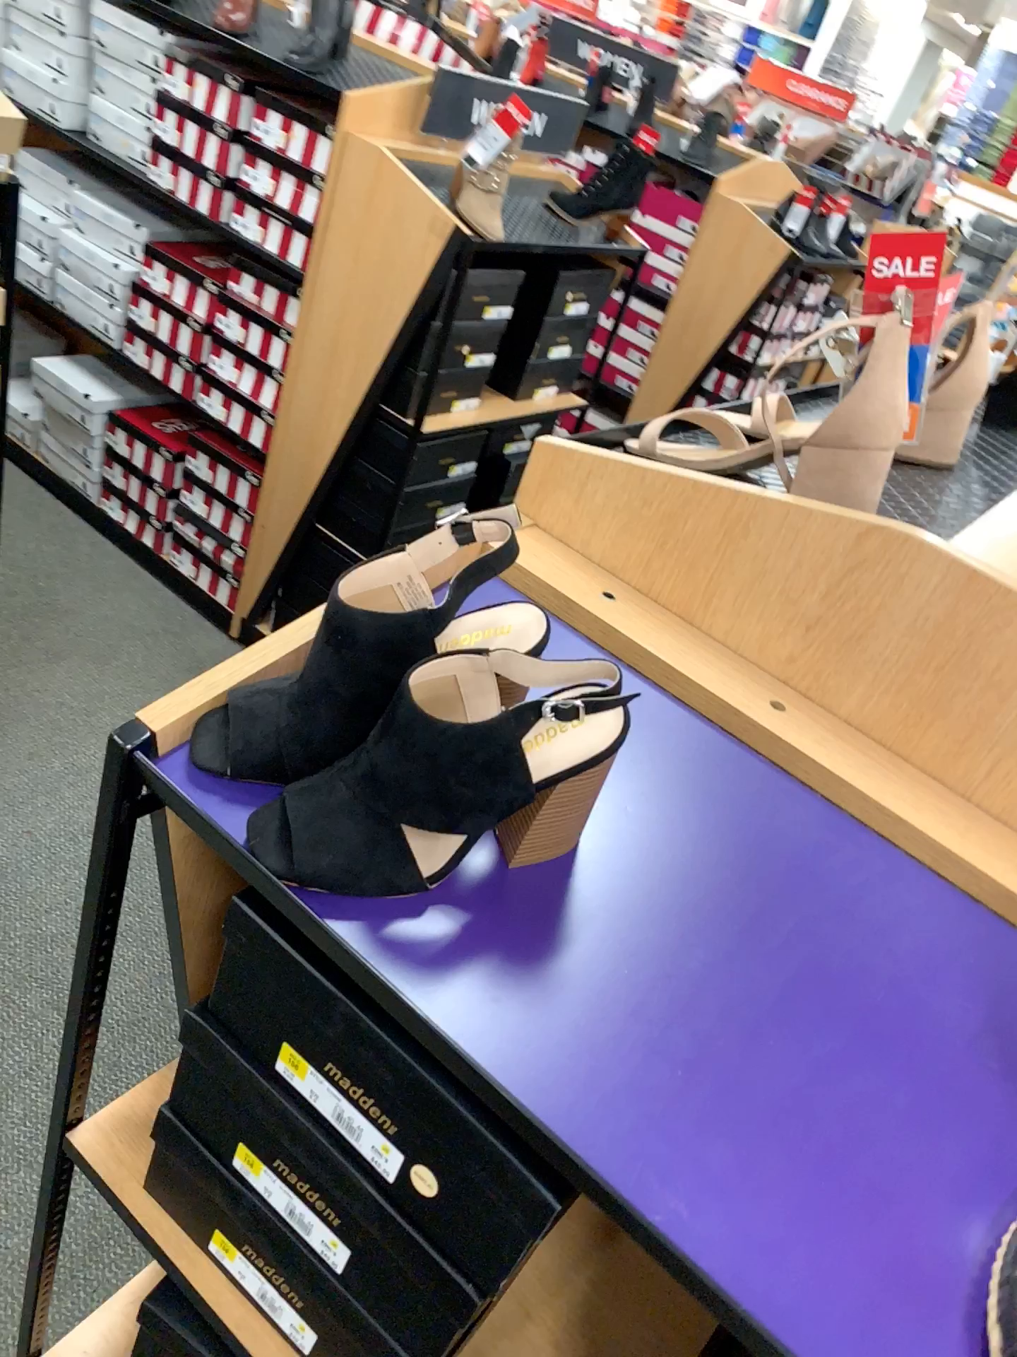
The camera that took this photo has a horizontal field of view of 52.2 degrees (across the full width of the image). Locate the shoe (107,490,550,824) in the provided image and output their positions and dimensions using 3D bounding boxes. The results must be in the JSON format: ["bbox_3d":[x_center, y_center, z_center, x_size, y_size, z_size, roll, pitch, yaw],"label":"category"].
[{"bbox_3d":[-0.095,-0.013,0.606,0.220,0.139,0.080,-10,38,-6],"label":"shoe"}]

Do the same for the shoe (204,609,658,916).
[{"bbox_3d":[-0.043,0.042,0.564,0.220,0.109,0.080,-8,39,-13],"label":"shoe"}]
